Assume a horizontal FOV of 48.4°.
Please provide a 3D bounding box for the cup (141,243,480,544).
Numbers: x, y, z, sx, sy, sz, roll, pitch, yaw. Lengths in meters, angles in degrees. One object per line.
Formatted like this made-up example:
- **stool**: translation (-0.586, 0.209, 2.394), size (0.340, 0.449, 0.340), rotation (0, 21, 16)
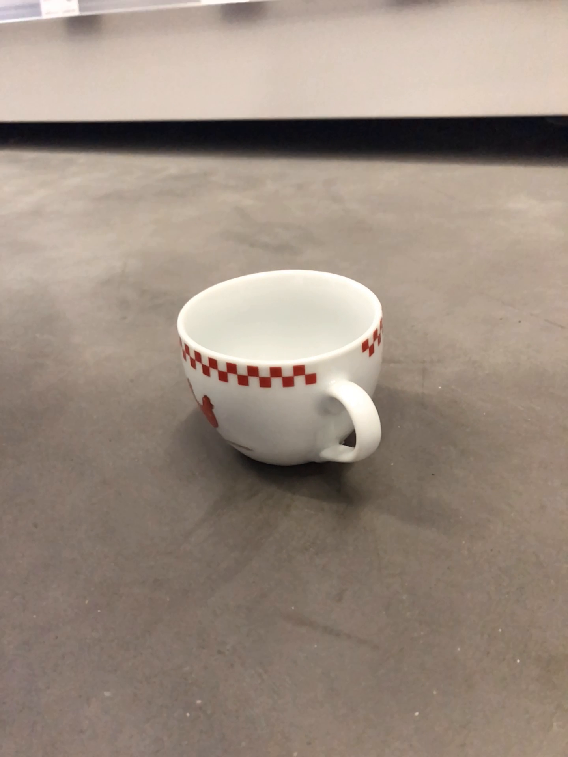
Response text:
- **cup**: translation (0.005, -0.005, 0.262), size (0.089, 0.058, 0.111), rotation (-17, 34, -23)
